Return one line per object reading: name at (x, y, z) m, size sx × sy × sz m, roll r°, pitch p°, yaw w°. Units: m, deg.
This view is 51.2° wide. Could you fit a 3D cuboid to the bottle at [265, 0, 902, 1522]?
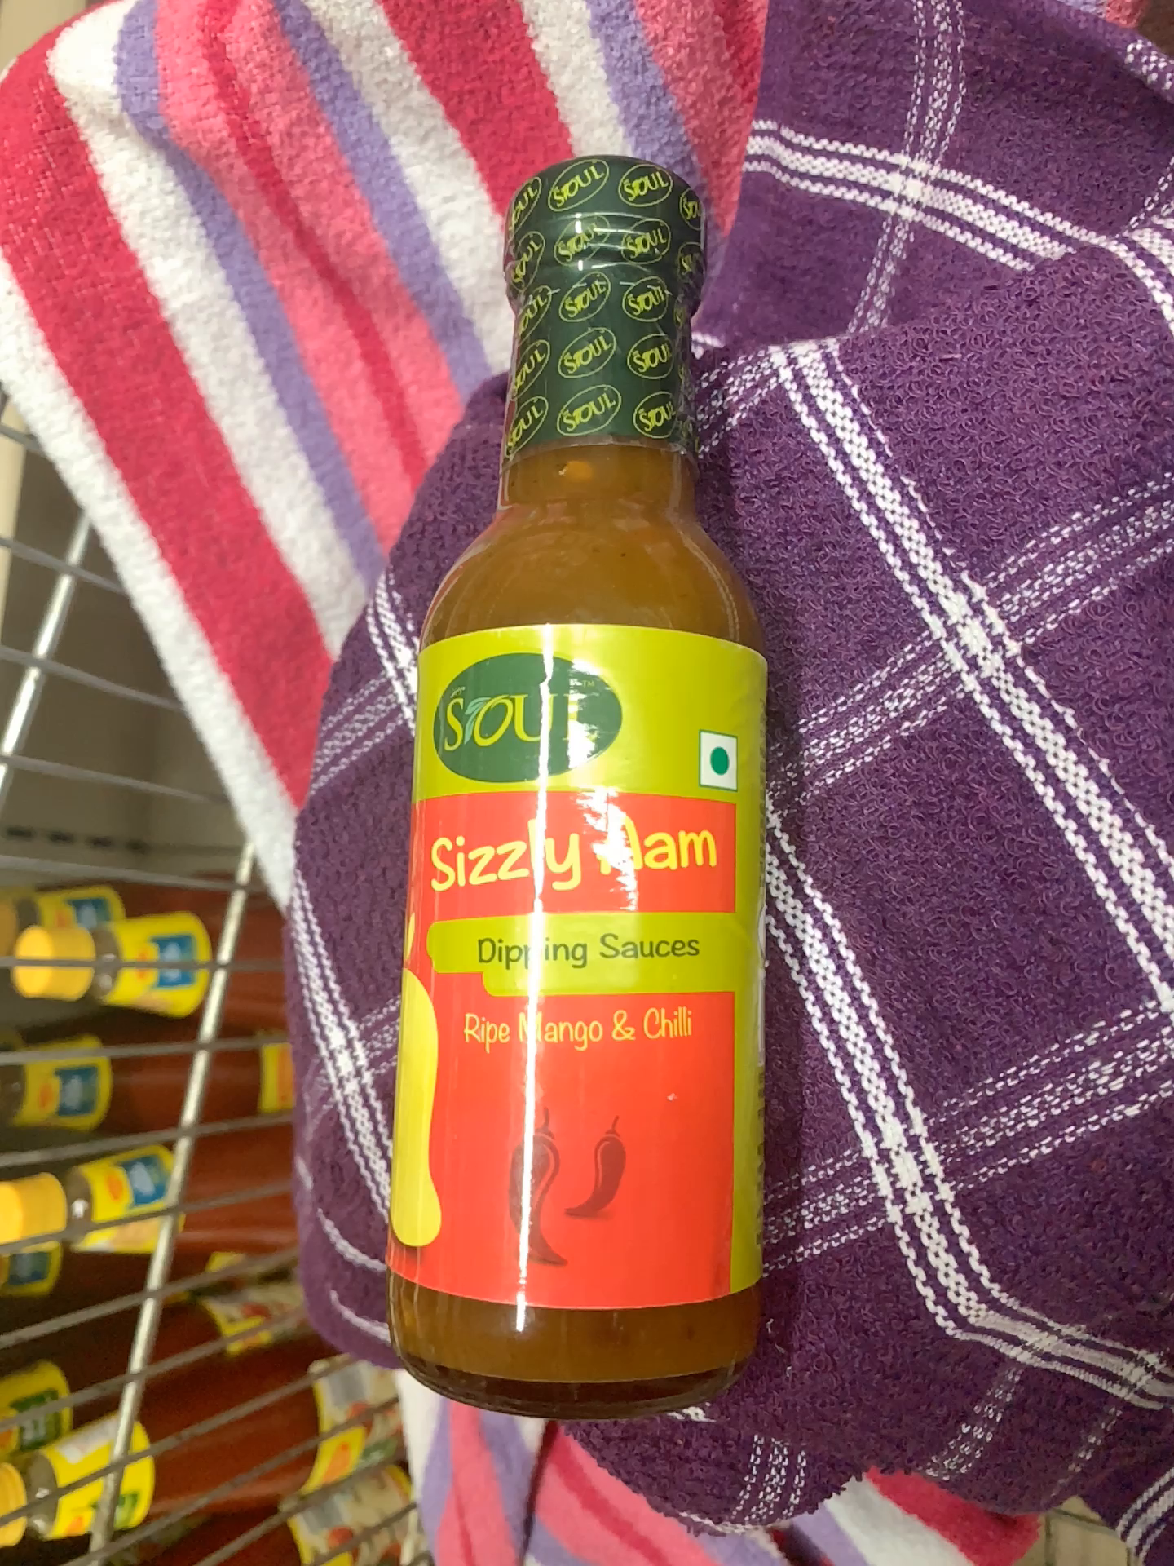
bottle at (0.004, -0.017, 0.182) m, size 0.060 × 0.060 × 0.200 m, roll -2°, pitch 81°, yaw 38°
